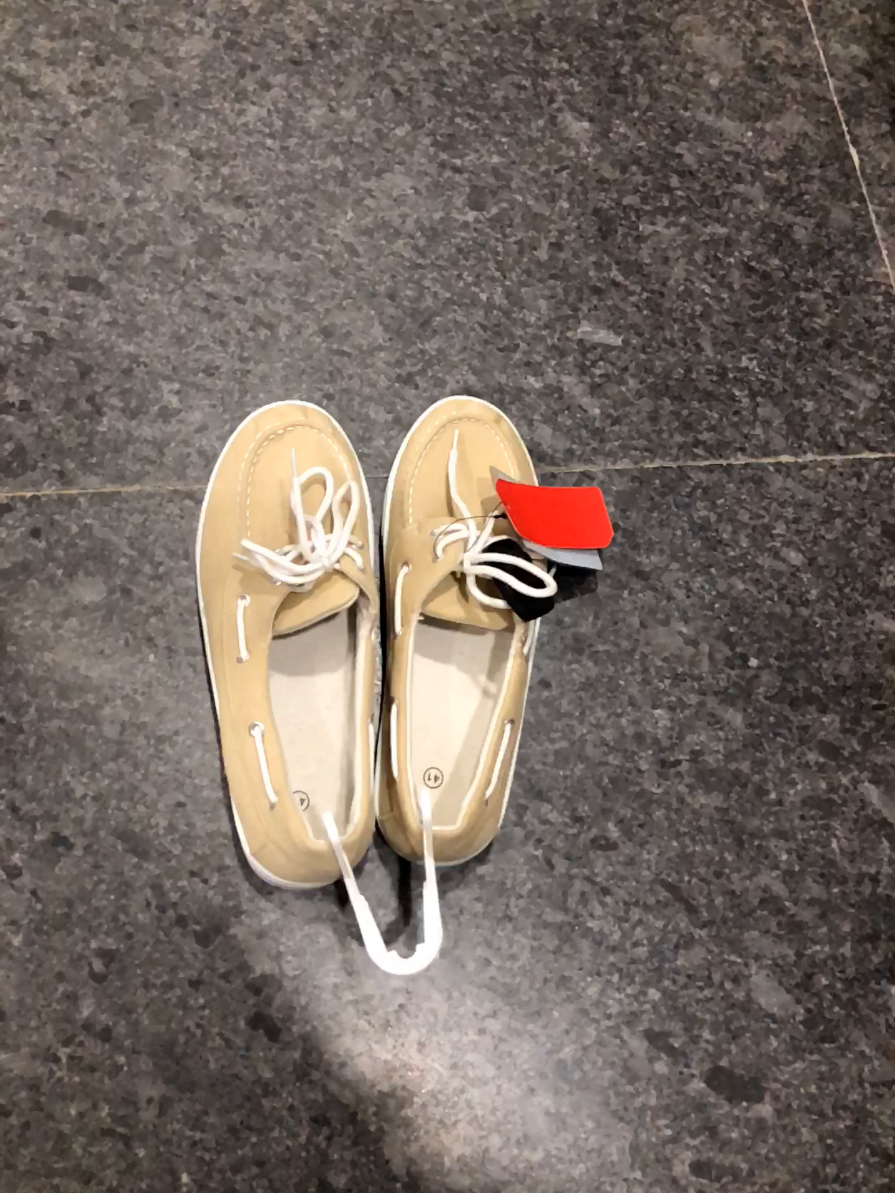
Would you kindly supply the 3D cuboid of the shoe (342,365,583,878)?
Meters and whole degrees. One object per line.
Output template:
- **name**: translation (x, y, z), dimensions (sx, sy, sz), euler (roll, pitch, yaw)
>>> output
- **shoe**: translation (0.008, 0.016, 0.523), dimensions (0.096, 0.106, 0.242), euler (7, 69, -7)

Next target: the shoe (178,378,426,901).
- **shoe**: translation (-0.078, 0.022, 0.503), dimensions (0.103, 0.106, 0.242), euler (-2, 70, -10)
